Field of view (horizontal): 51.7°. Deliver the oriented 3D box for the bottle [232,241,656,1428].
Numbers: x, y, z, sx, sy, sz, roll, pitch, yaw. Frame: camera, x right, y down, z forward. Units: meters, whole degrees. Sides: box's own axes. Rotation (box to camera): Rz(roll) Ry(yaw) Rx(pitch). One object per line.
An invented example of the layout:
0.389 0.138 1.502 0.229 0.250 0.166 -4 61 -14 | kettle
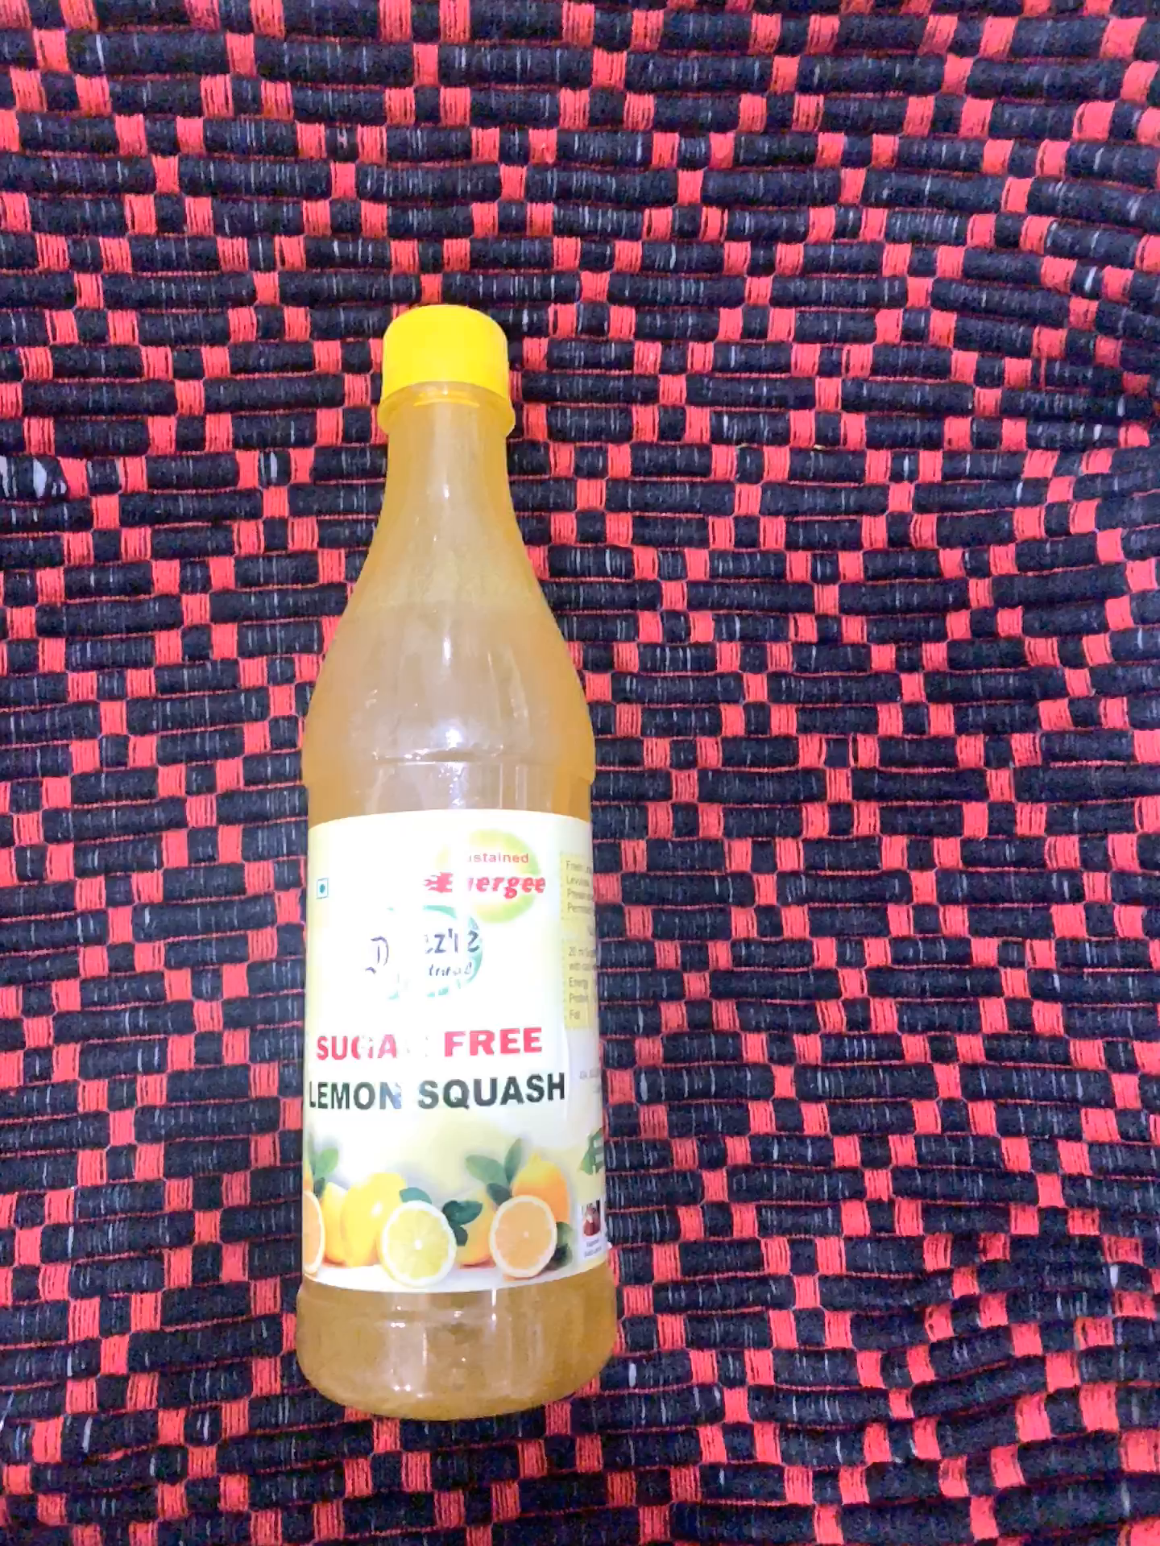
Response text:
-0.029 0.004 0.259 0.070 0.060 0.230 0 74 -6 | bottle
